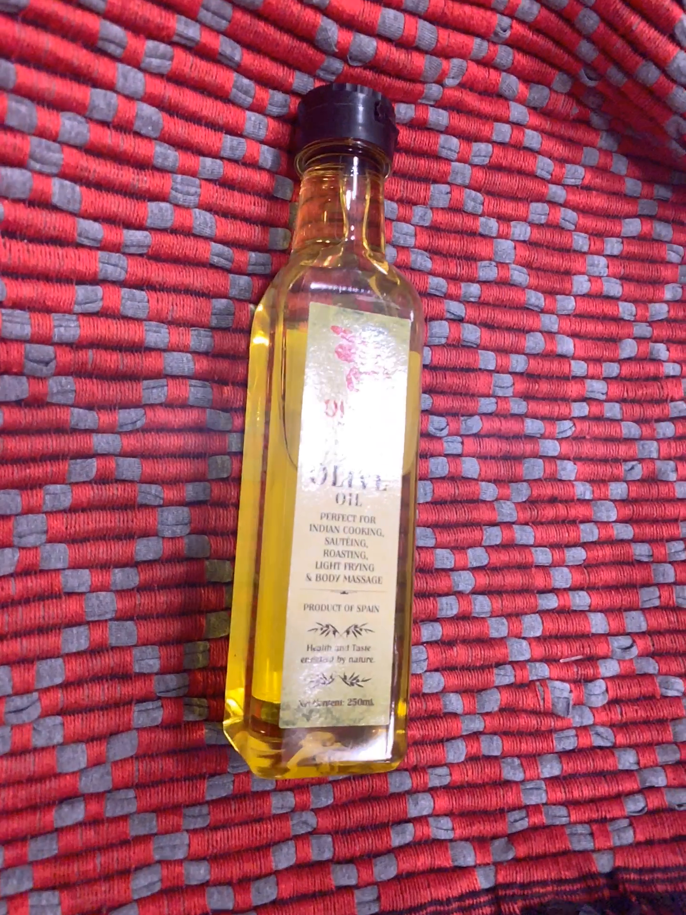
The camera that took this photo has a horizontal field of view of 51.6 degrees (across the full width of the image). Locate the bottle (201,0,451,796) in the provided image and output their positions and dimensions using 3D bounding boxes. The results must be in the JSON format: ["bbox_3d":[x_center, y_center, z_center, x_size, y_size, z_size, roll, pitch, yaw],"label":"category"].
[{"bbox_3d":[-0.005,-0.022,0.207,0.050,0.050,0.210,5,82,-20],"label":"bottle"}]
